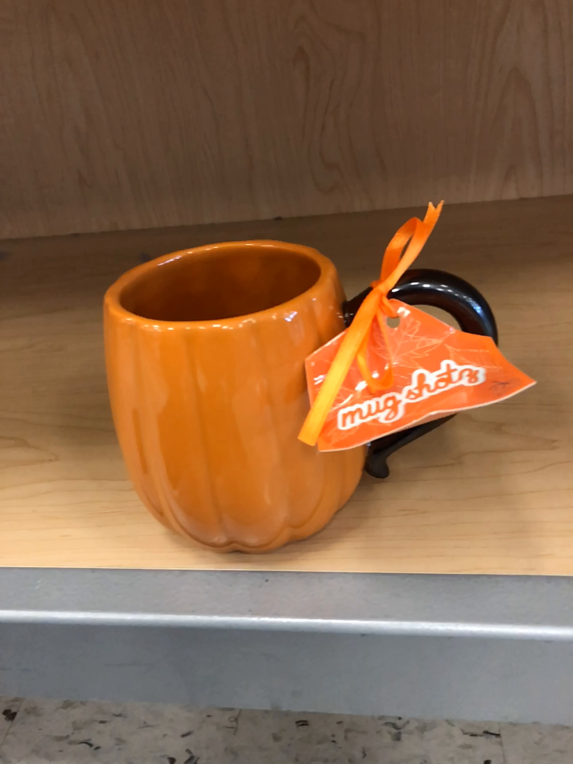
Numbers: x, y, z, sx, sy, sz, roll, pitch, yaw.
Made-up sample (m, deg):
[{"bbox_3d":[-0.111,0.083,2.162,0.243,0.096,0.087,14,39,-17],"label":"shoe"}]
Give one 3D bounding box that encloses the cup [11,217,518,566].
[{"bbox_3d":[0.000,0.003,0.228,0.140,0.089,0.081,-3,32,10],"label":"cup"}]
